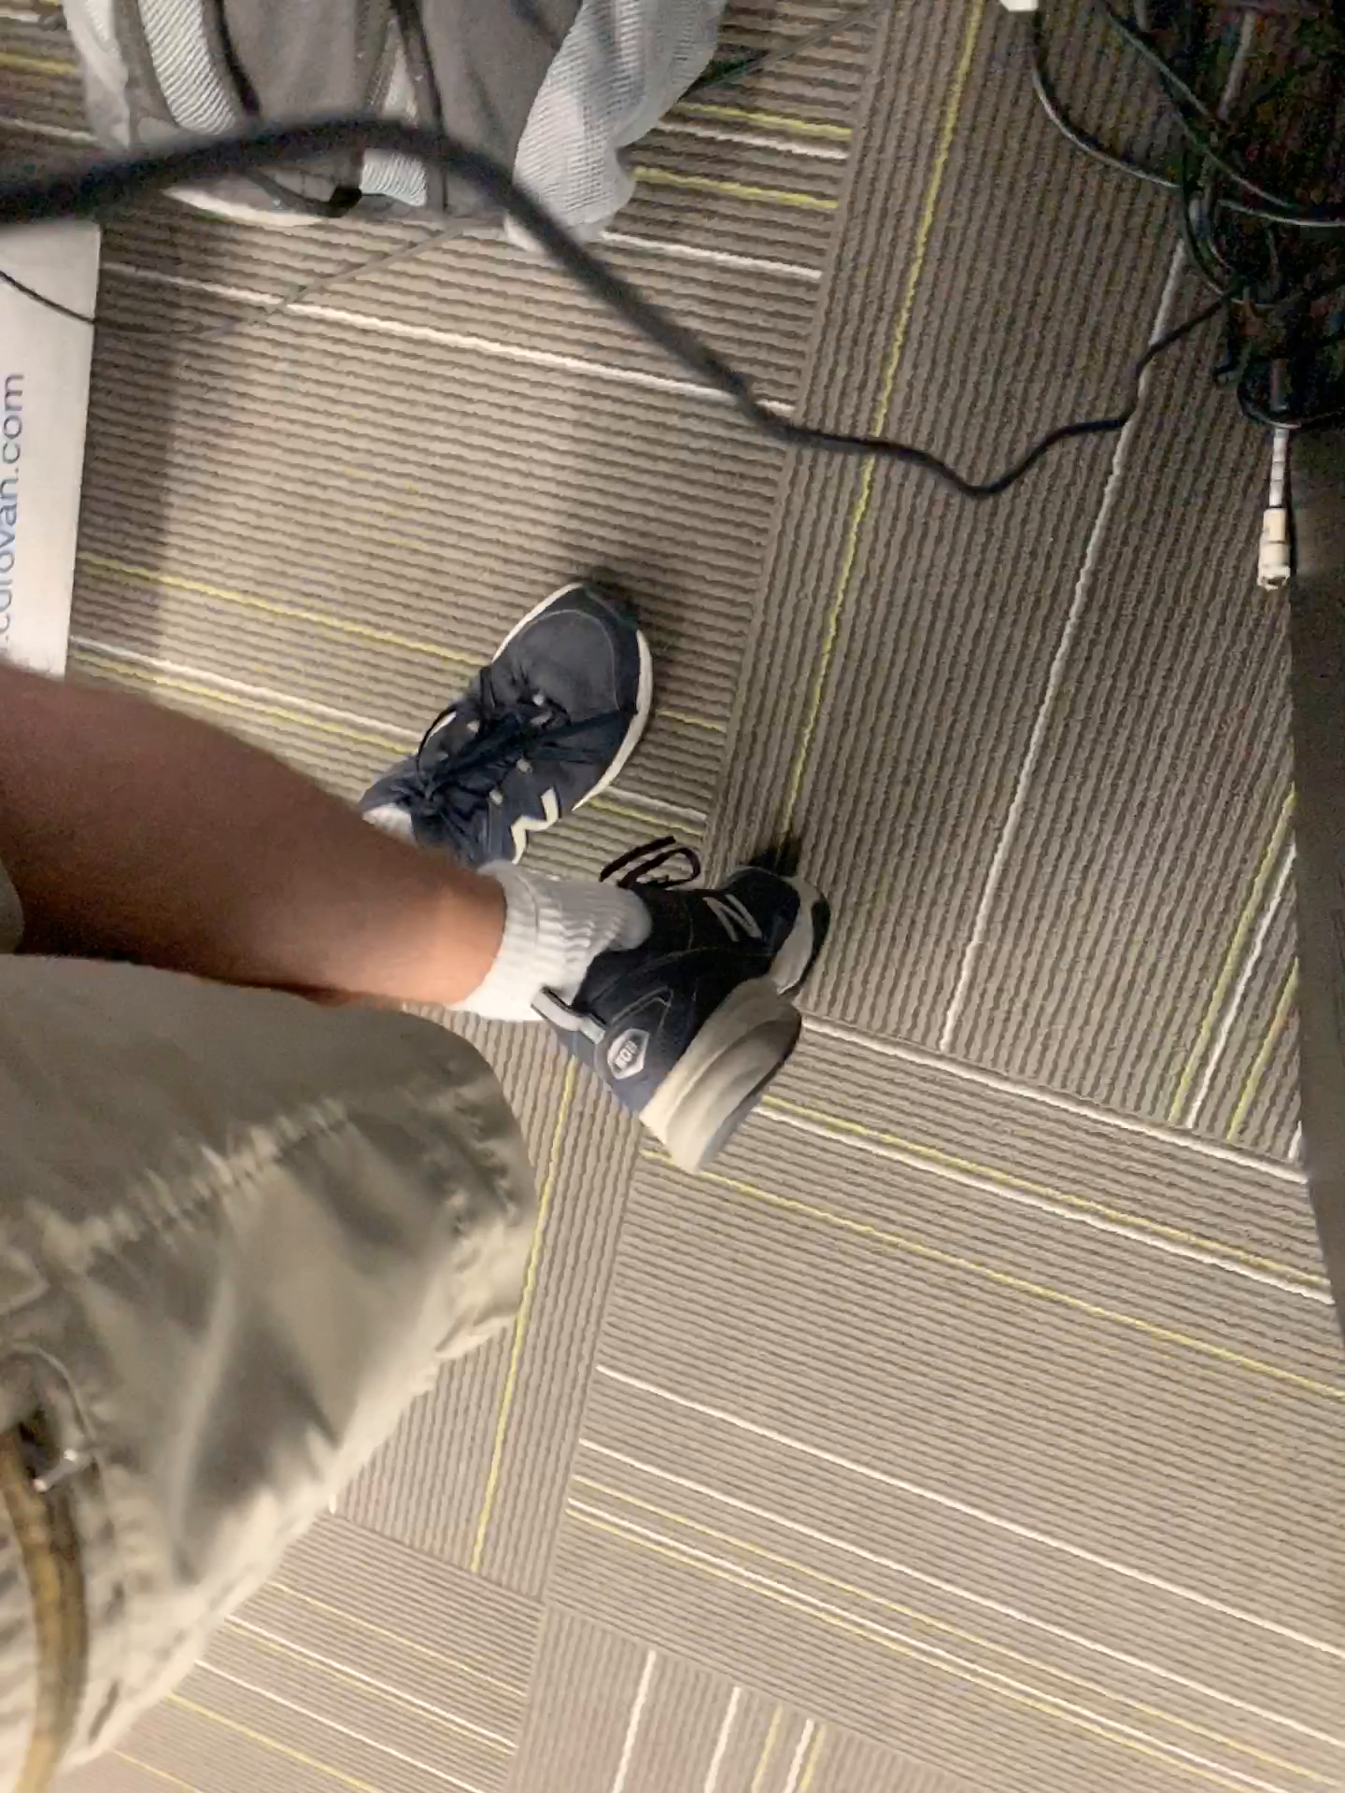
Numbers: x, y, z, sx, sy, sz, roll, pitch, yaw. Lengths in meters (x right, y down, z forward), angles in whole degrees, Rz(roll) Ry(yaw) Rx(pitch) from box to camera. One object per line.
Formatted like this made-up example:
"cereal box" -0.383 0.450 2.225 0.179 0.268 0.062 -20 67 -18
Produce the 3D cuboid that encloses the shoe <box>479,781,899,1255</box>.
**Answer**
"shoe" 0.025 0.053 0.814 0.129 0.292 0.122 37 115 2

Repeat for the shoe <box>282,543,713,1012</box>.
"shoe" -0.120 -0.074 0.910 0.120 0.077 0.298 43 115 2
